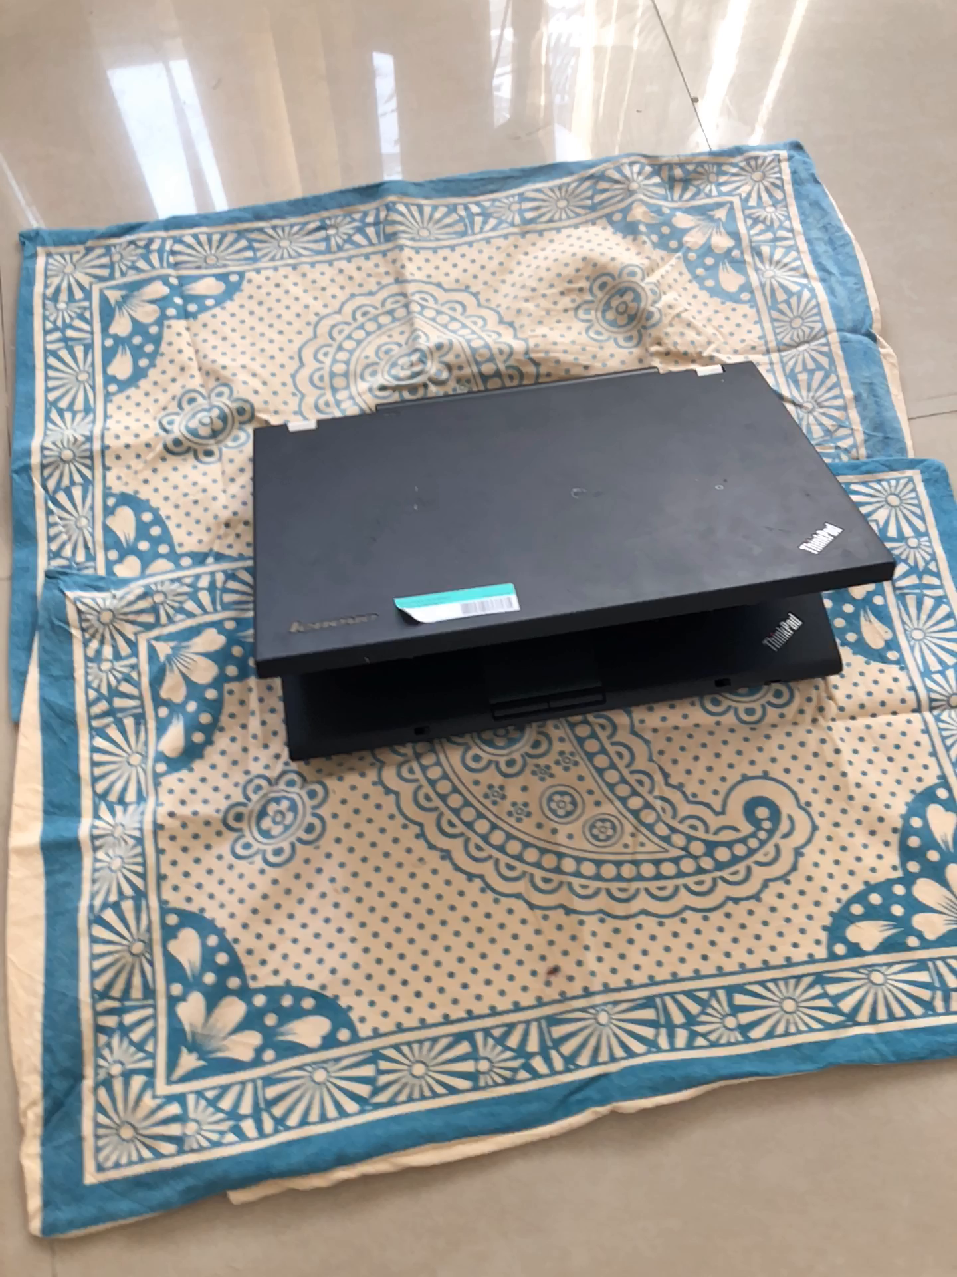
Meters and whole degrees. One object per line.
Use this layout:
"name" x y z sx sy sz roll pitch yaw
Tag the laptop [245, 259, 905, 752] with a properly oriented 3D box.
"laptop" 0.038 -0.083 0.677 0.347 0.125 0.241 -8 66 0
